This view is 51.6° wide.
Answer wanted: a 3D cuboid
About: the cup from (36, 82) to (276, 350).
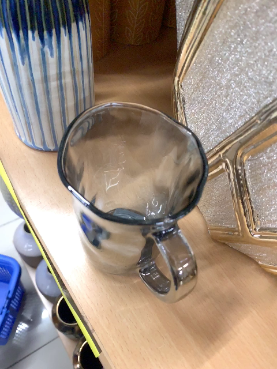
[{"bbox_3d":[0.001,0.024,0.178,0.070,0.110,0.110,-24,64,-22],"label":"cup"}]
